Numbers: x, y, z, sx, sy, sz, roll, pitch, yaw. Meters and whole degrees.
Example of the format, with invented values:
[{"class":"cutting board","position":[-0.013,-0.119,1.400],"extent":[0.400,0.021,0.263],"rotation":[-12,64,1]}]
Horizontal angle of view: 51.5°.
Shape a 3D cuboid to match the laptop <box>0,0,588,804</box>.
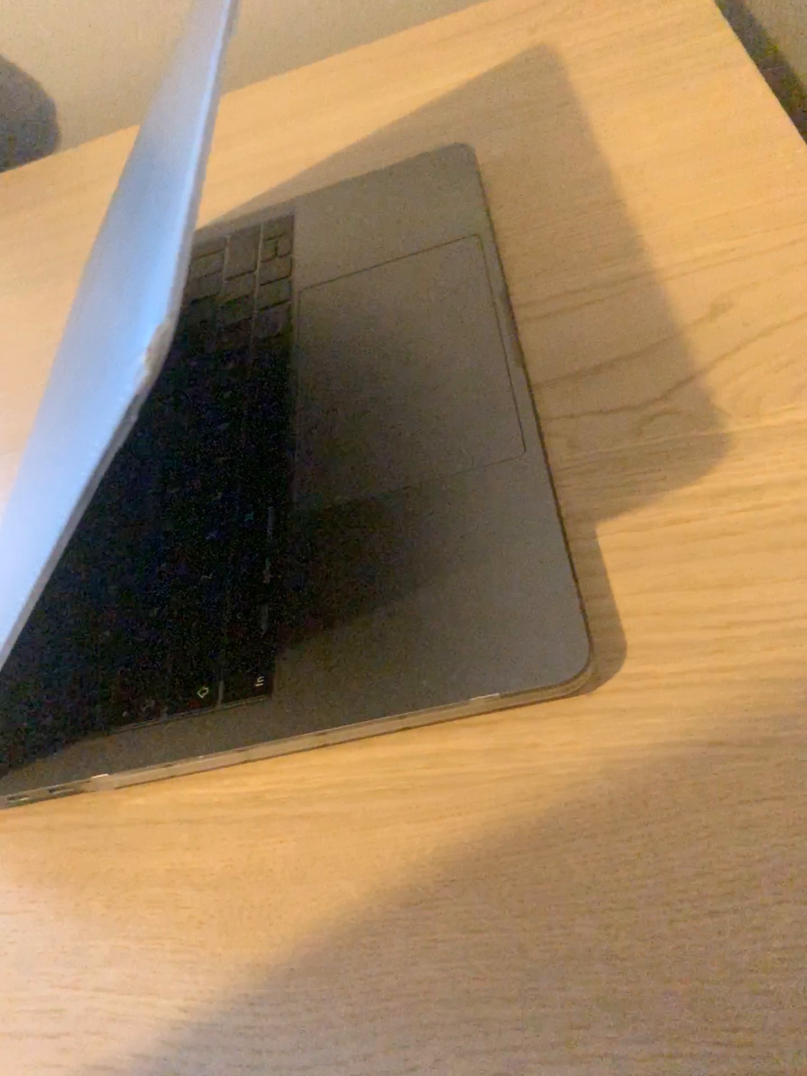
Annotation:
[{"class":"laptop","position":[-0.078,-0.098,0.295],"extent":[0.207,0.127,0.310],"rotation":[-13,49,10]}]
